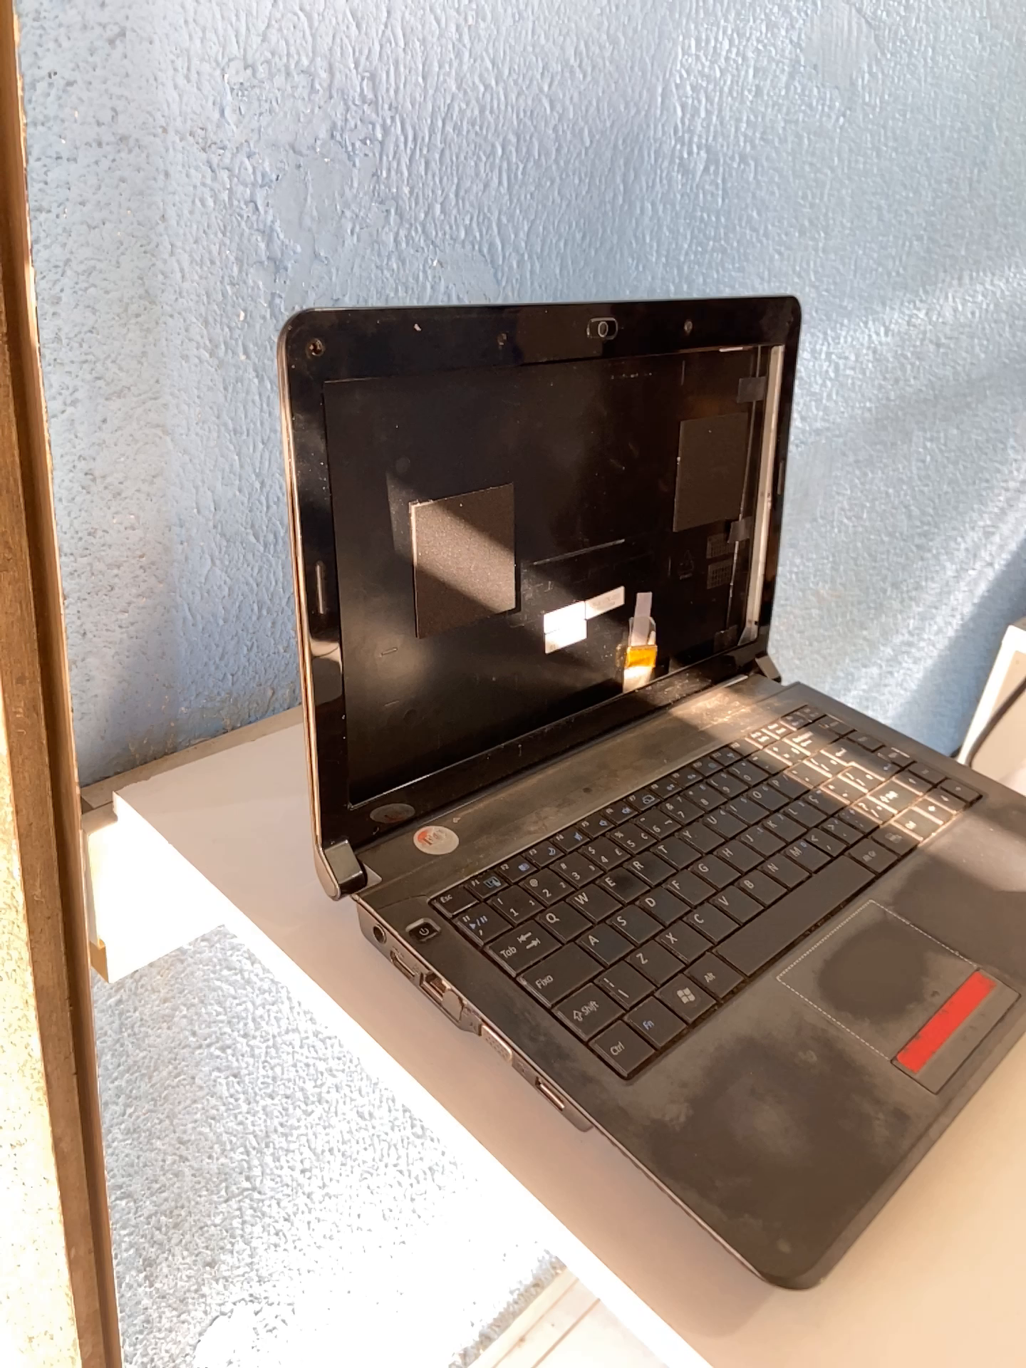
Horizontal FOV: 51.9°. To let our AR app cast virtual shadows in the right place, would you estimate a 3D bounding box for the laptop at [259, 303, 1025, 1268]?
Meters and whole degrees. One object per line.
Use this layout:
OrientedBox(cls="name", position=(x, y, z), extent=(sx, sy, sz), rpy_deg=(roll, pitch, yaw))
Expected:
OrientedBox(cls="laptop", position=(0.116, -0.020, 0.458), extent=(0.276, 0.216, 0.335), rpy_deg=(31, 35, 35))
